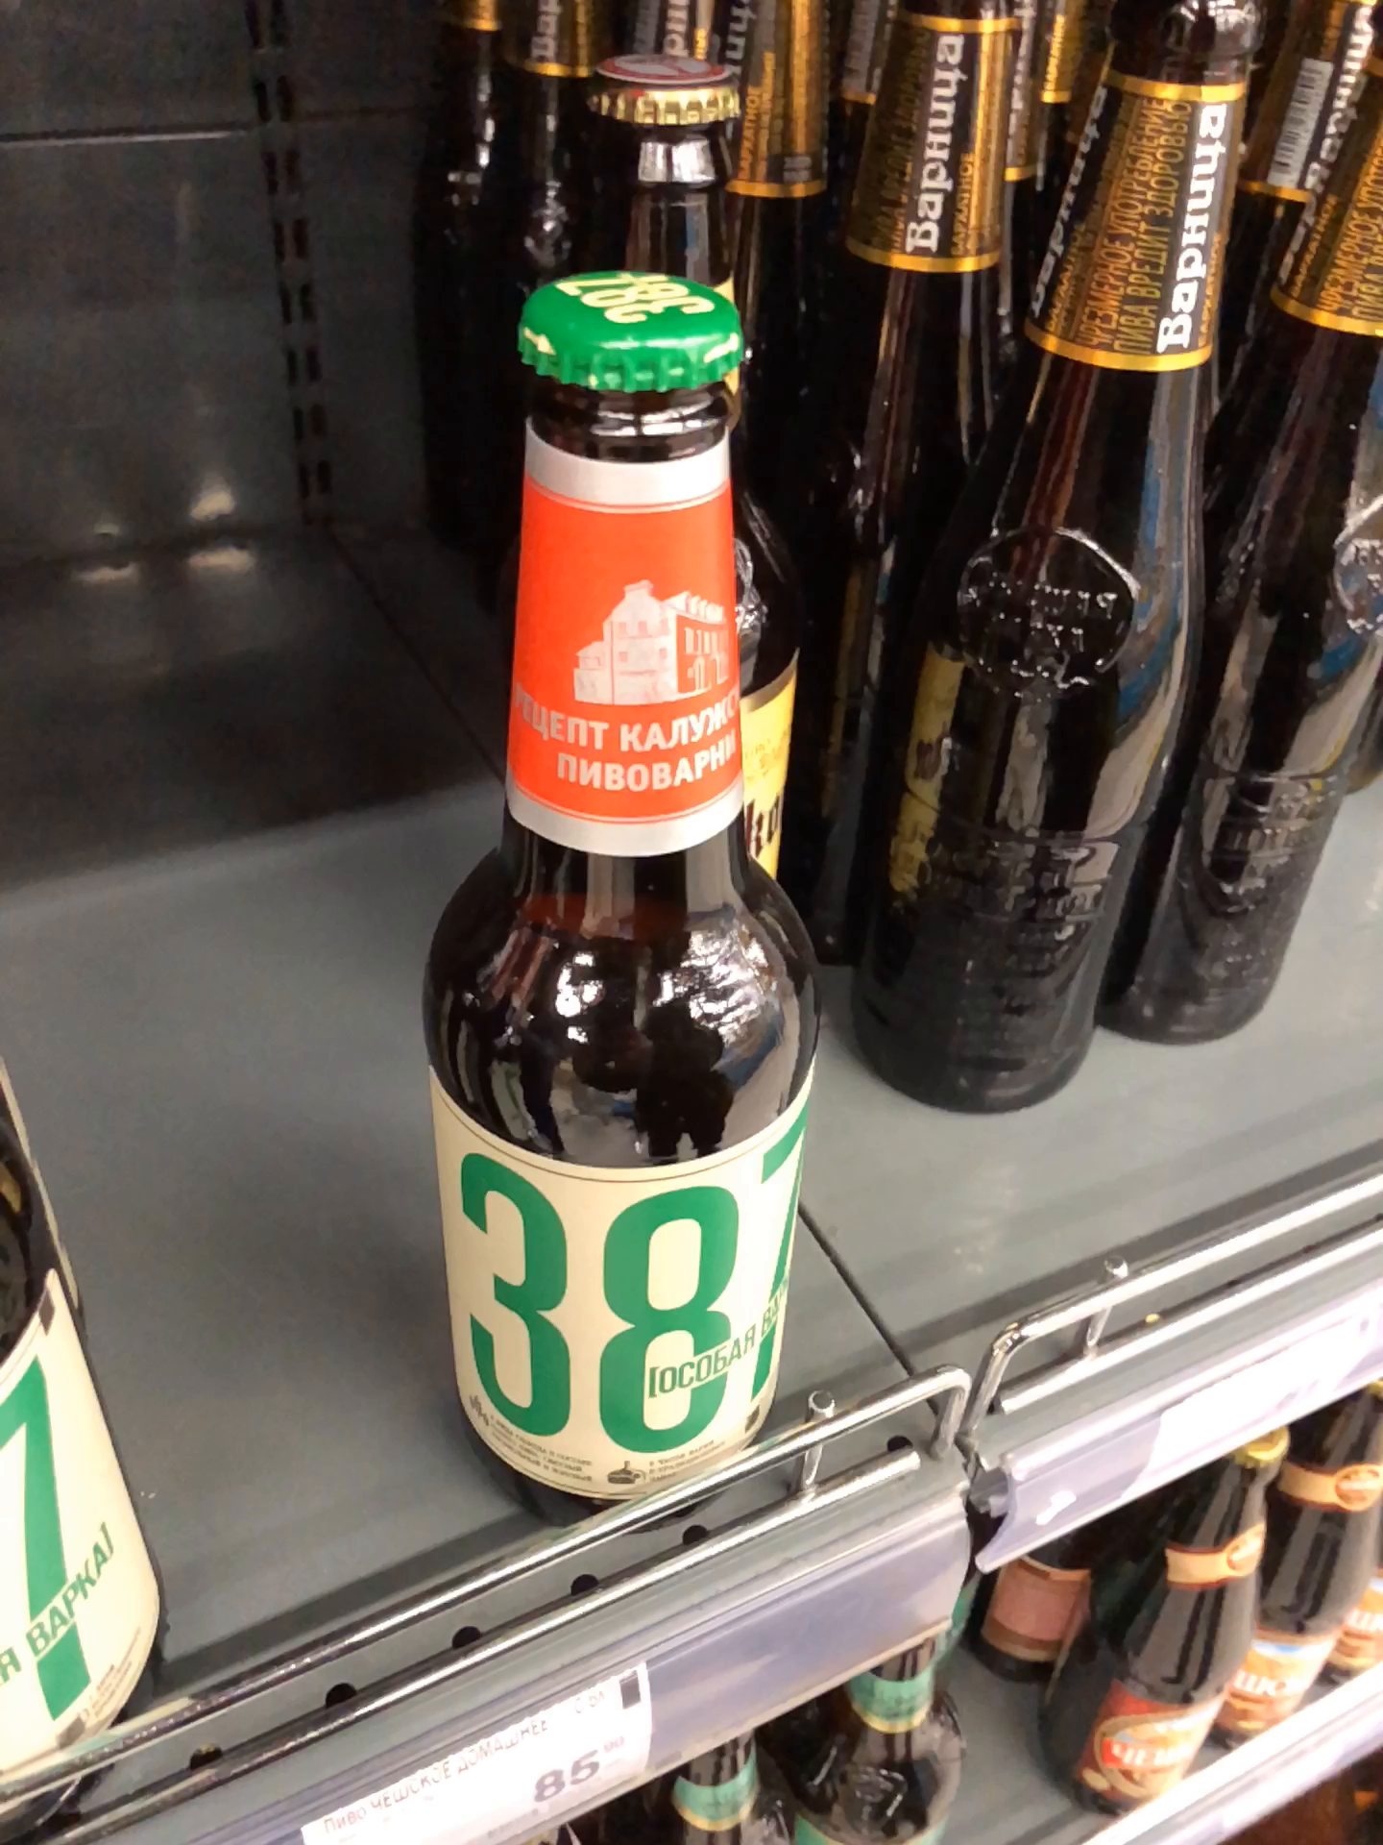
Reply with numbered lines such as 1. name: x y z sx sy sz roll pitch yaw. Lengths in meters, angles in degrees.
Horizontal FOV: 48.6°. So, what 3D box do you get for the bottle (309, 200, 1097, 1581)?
1. bottle: -0.008 0.010 0.261 0.080 0.229 0.070 -9 40 -15
